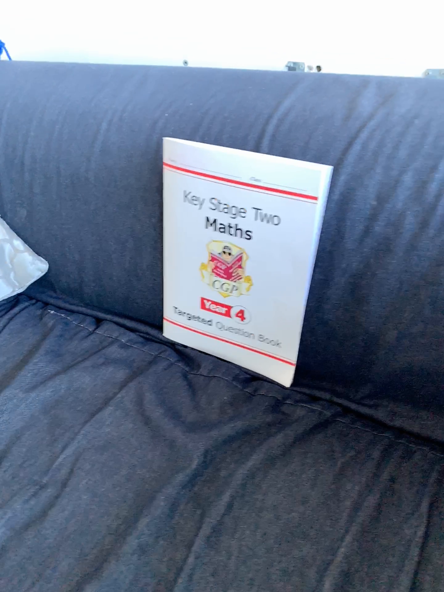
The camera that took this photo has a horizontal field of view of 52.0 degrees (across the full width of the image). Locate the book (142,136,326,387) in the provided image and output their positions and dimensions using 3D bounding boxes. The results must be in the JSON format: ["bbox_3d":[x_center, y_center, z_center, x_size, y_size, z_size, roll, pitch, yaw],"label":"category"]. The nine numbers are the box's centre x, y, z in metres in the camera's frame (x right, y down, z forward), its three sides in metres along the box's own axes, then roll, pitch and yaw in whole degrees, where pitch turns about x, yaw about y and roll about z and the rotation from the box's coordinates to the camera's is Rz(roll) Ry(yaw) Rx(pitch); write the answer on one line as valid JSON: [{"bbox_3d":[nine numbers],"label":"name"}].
[{"bbox_3d":[-0.003,-0.045,0.565,0.220,0.266,0.030,18,27,26],"label":"book"}]
